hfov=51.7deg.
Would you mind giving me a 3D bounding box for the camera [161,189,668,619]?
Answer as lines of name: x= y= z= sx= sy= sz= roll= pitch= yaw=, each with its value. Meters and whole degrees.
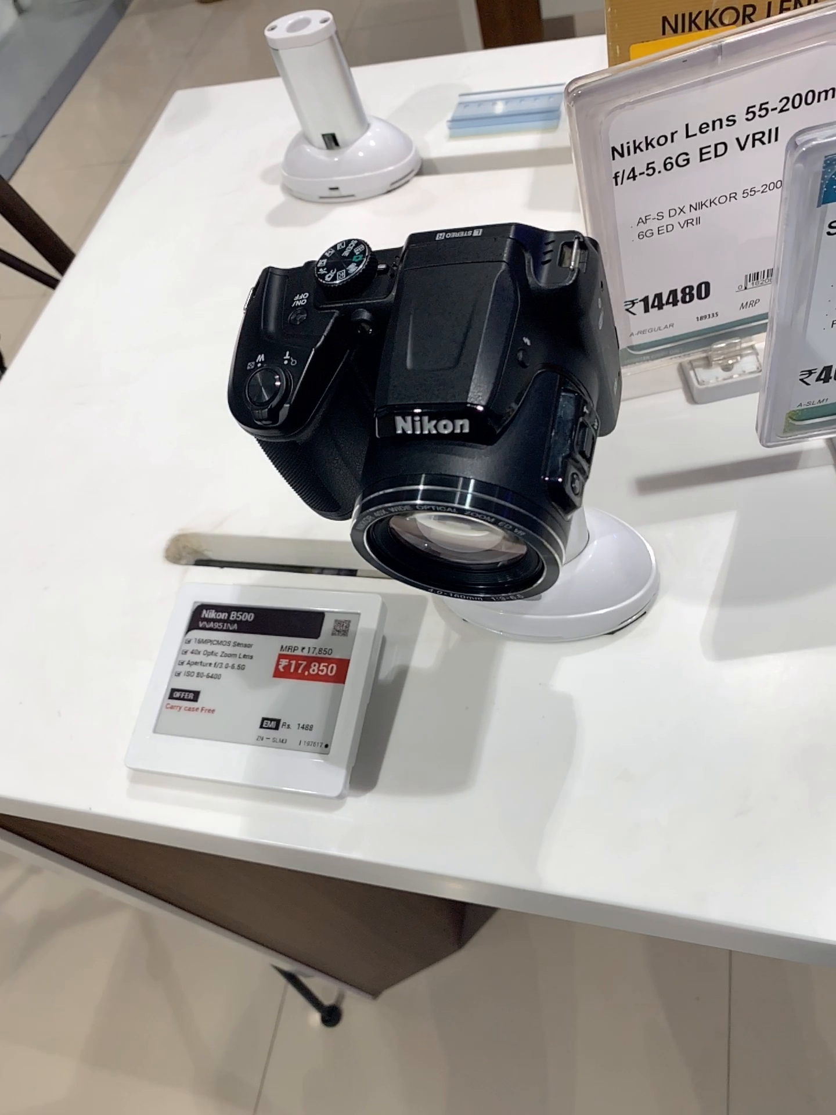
camera: x=0.007 y=-0.039 z=0.239 sx=0.113 sy=0.070 sz=0.083 roll=3 pitch=65 yaw=19
